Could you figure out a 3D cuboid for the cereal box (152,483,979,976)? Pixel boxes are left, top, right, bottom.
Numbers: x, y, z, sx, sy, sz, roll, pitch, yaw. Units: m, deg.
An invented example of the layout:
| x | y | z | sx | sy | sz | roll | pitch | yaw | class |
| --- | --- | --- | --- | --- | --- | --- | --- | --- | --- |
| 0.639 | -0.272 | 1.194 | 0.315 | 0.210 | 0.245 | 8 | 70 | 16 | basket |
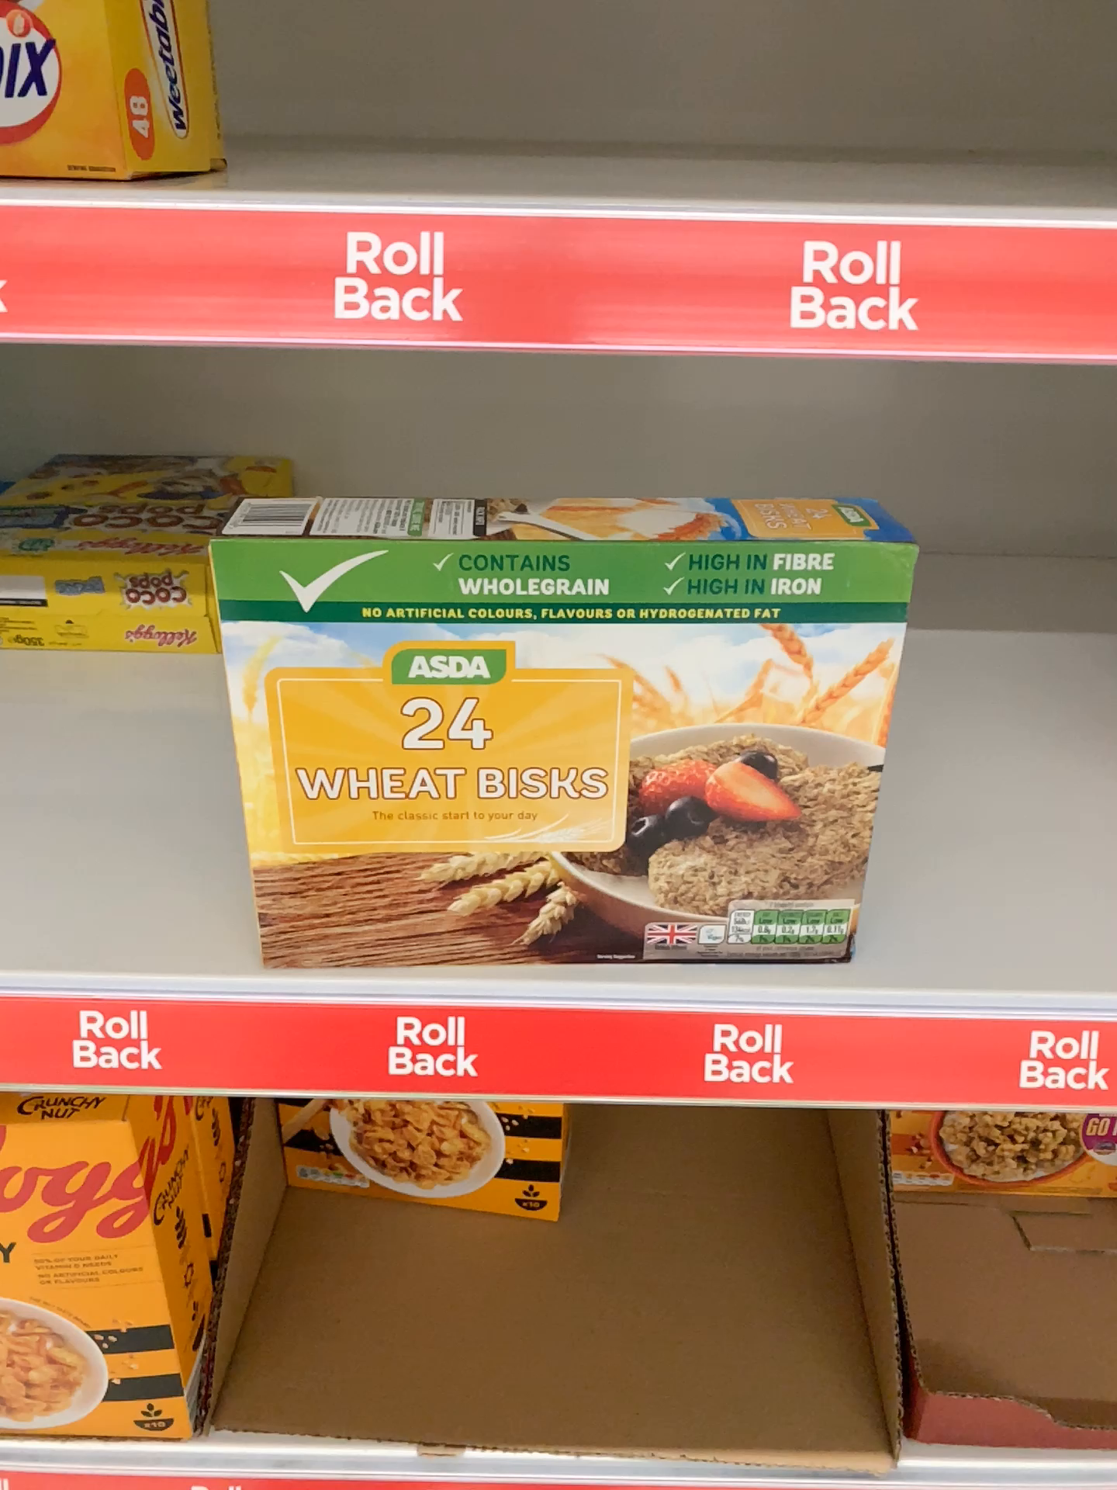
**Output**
| x | y | z | sx | sy | sz | roll | pitch | yaw | class |
| --- | --- | --- | --- | --- | --- | --- | --- | --- | --- |
| 0.002 | -0.004 | 0.443 | 0.270 | 0.178 | 0.061 | -1 | 29 | -3 | cereal box |
